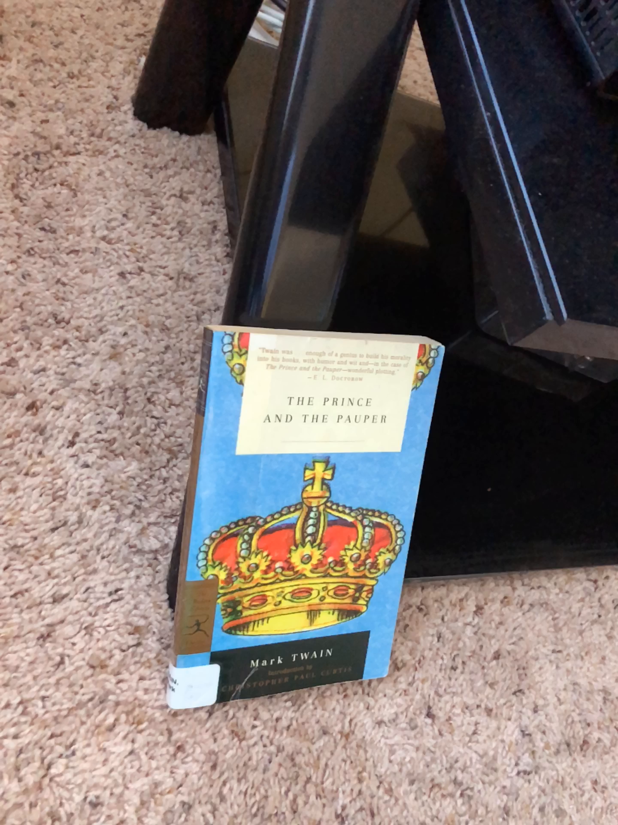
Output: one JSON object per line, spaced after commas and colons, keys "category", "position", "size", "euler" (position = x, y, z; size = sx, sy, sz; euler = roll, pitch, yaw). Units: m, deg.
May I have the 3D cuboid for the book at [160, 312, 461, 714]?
{"category": "book", "position": [0.001, 0.053, 0.360], "size": [0.130, 0.030, 0.193], "euler": [2, 104, -30]}
